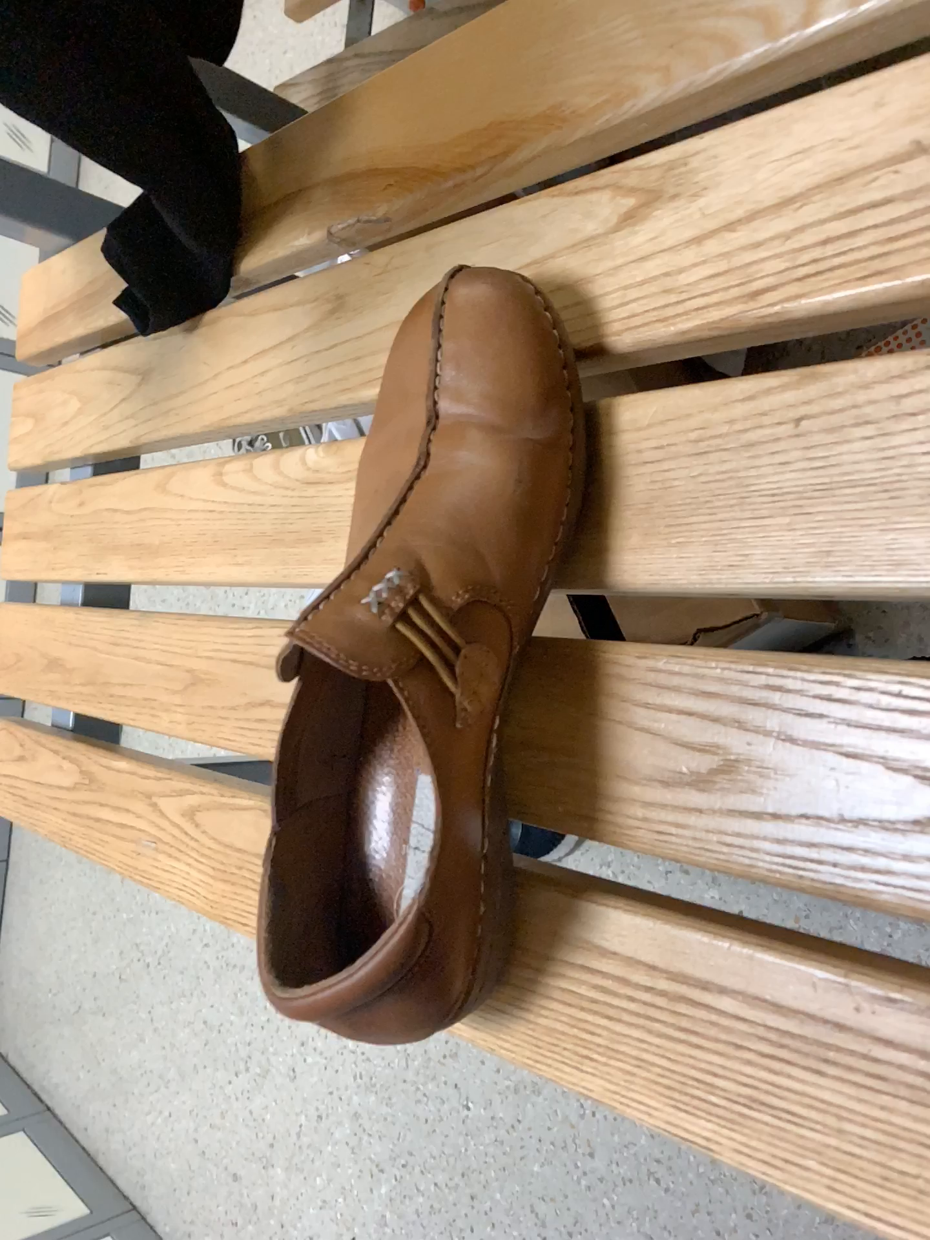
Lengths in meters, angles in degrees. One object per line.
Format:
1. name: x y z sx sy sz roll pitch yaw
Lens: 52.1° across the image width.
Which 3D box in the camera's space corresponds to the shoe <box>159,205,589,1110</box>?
1. shoe: -0.032 0.010 0.327 0.112 0.085 0.245 -1 85 45
